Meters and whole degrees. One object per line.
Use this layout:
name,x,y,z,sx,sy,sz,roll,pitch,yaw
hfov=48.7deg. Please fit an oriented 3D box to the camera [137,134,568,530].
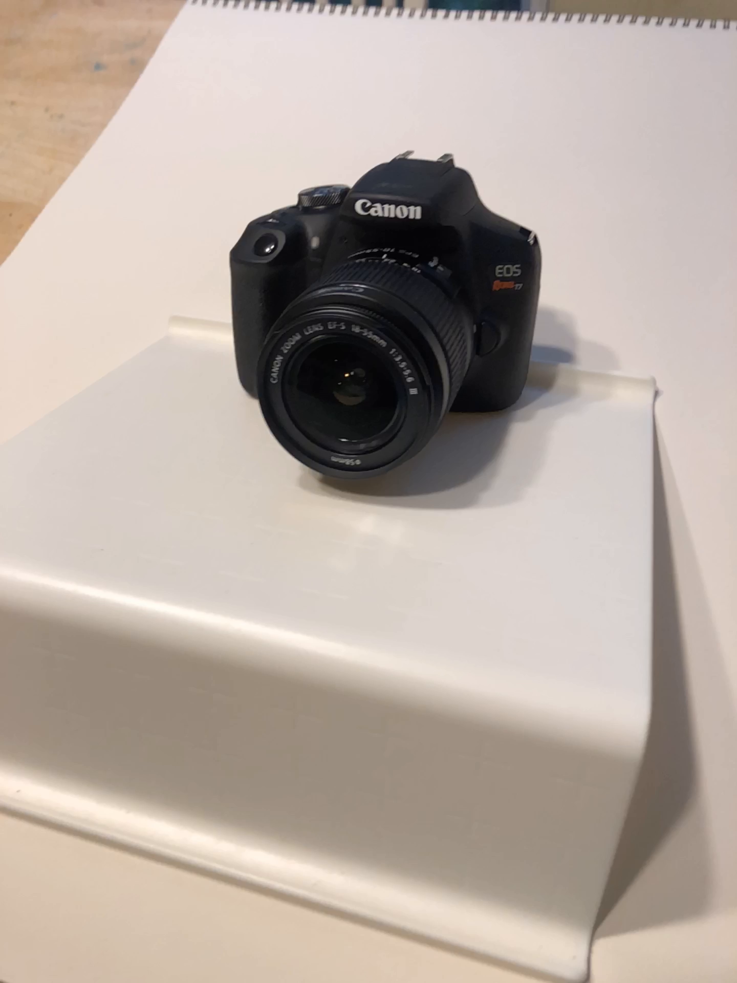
camera,0.003,-0.076,0.330,0.125,0.104,0.141,11,31,13
